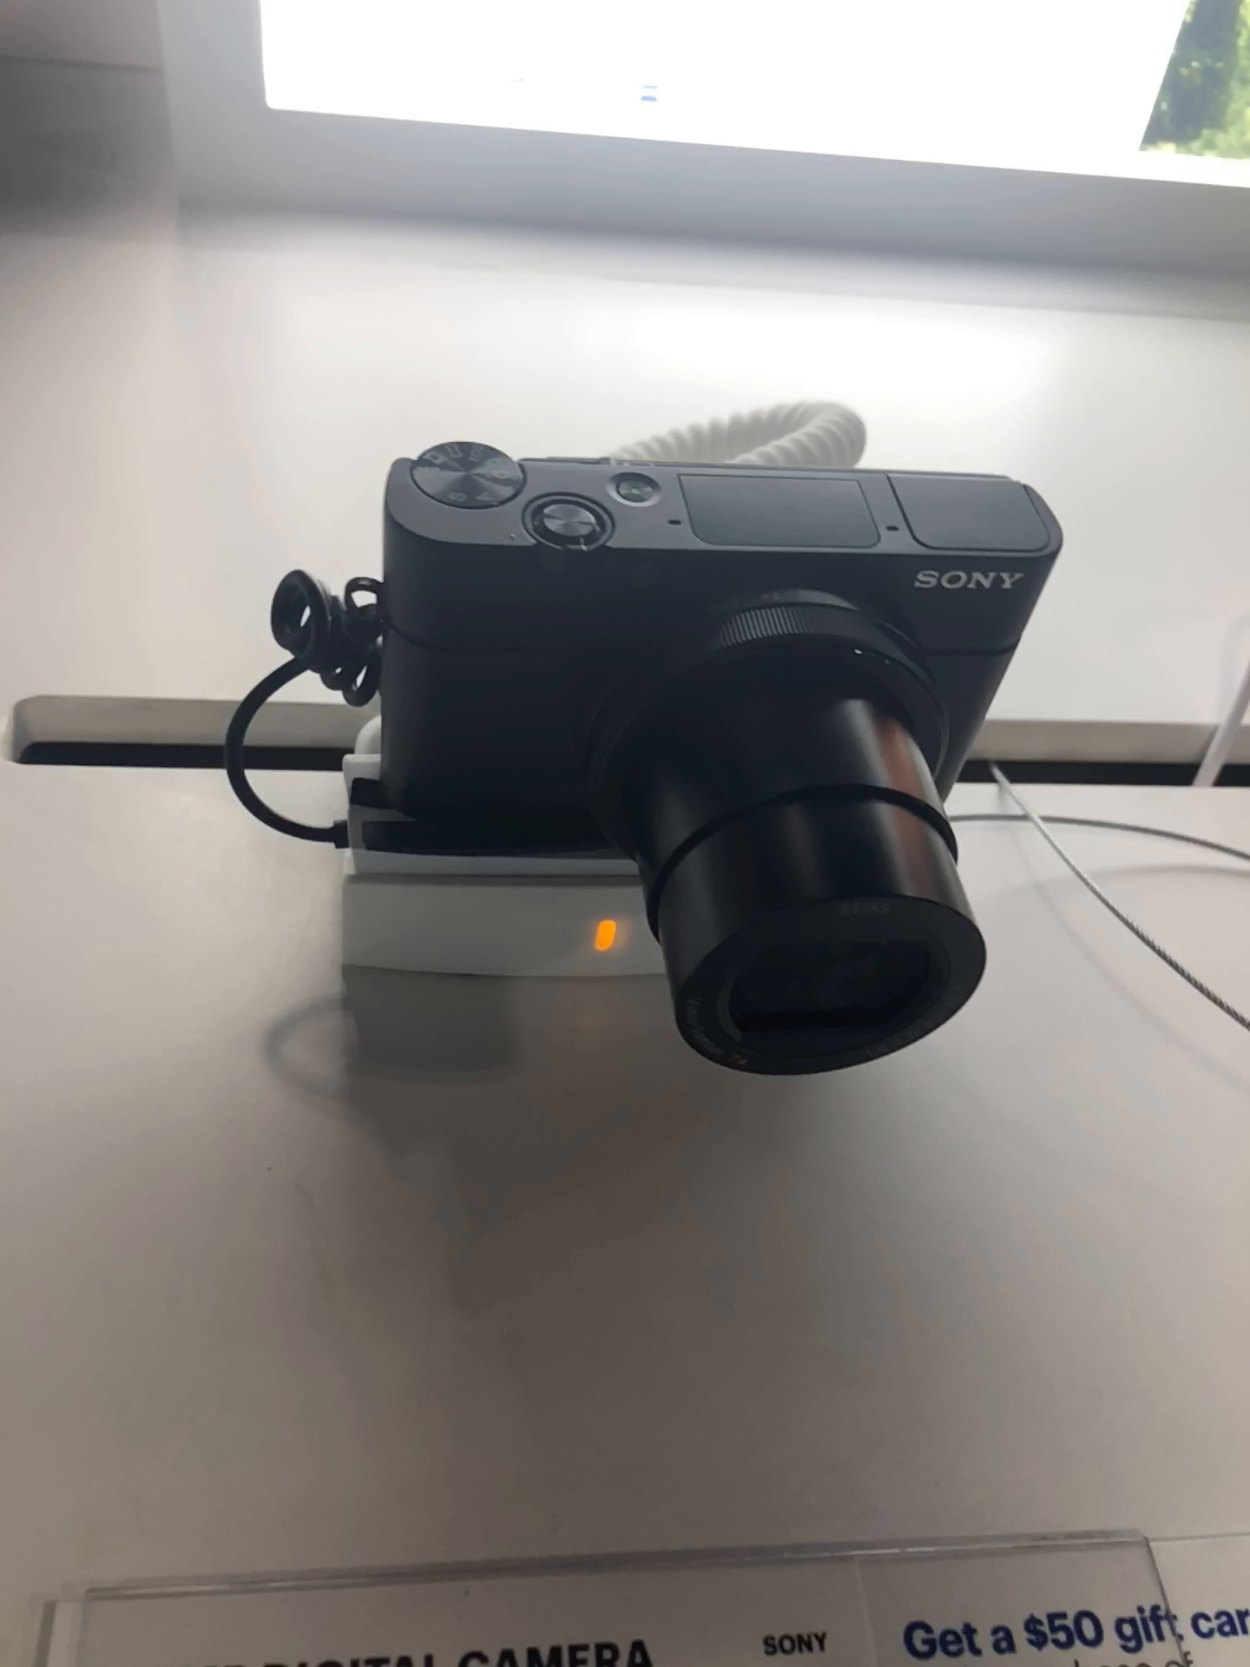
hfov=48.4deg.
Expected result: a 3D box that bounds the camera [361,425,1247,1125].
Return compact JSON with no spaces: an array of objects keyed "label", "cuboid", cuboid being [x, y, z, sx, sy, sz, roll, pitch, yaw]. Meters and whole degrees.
[{"label":"camera","cuboid":[0.016,-0.008,0.210,0.104,0.074,0.070,0,46,-8]}]
